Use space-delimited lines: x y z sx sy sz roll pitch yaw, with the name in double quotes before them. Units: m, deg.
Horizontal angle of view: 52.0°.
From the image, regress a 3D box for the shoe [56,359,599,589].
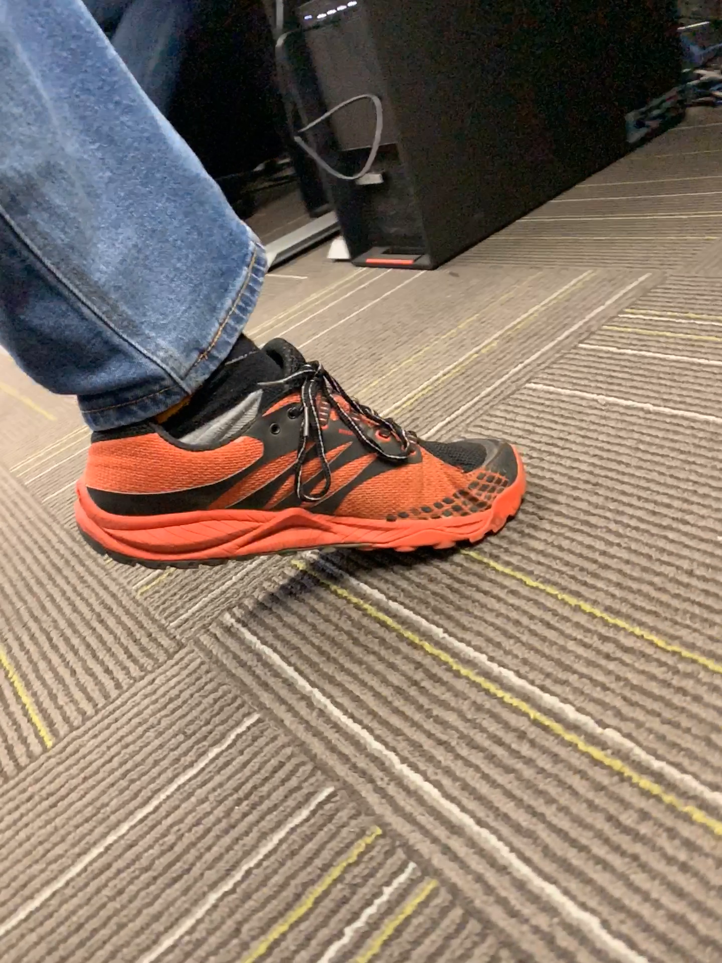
"shoe" -0.024 -0.014 0.490 0.314 0.106 0.127 -1 18 -16
